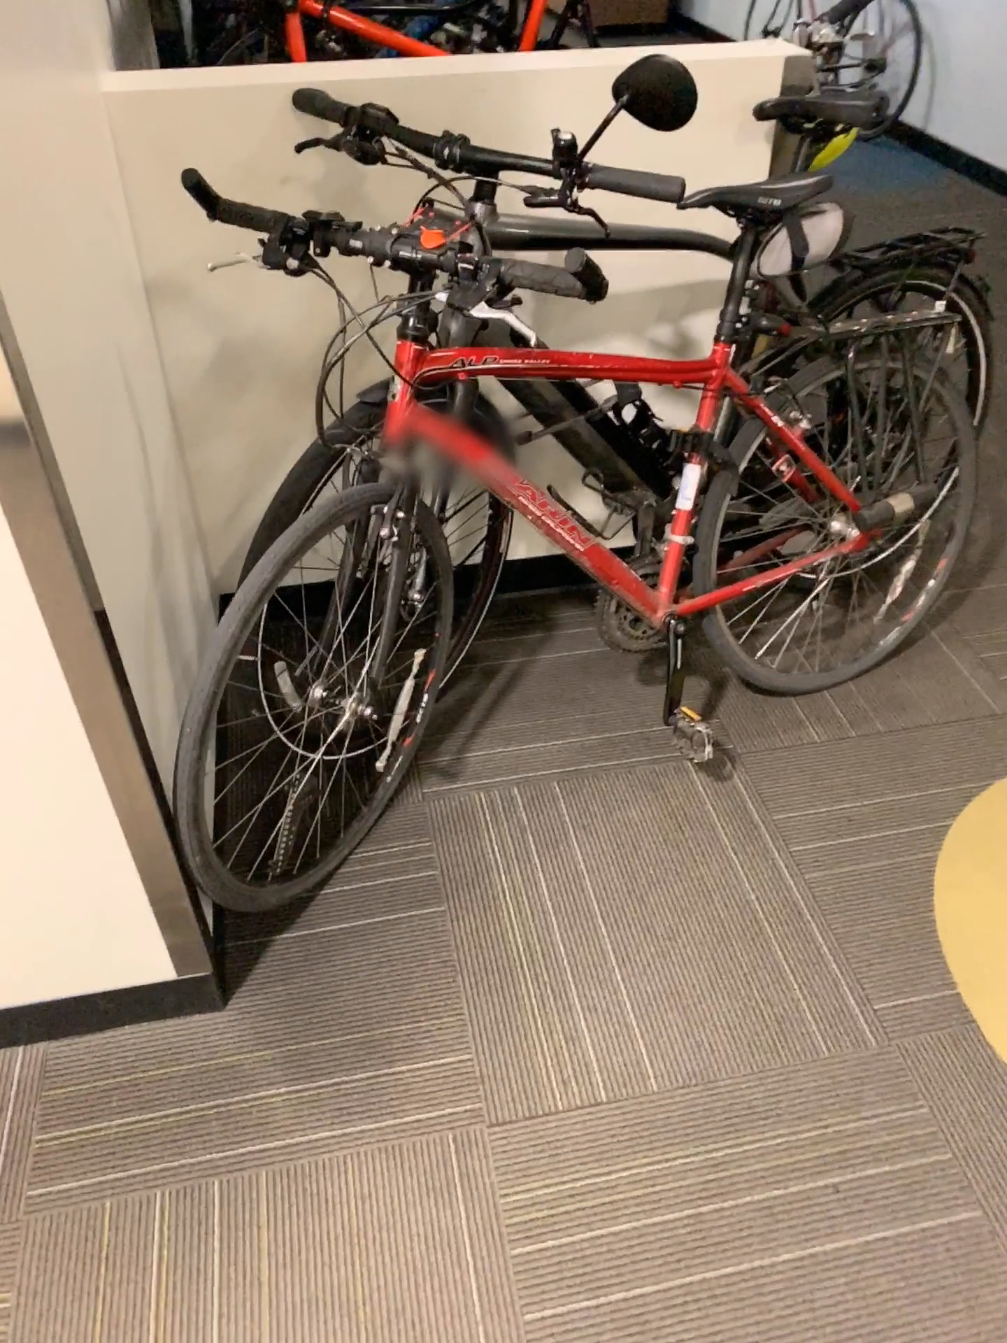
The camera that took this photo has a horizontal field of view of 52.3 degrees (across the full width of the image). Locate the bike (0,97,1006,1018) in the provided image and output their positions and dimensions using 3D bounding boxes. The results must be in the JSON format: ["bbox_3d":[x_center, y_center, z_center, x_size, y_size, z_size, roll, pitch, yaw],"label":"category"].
[{"bbox_3d":[0.227,-0.322,1.646,1.612,0.927,0.606,-21,44,-28],"label":"bike"}]

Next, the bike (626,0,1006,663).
[{"bbox_3d":[0.745,-0.696,2.064,0.726,1.148,0.696,-18,43,-28],"label":"bike"}]
